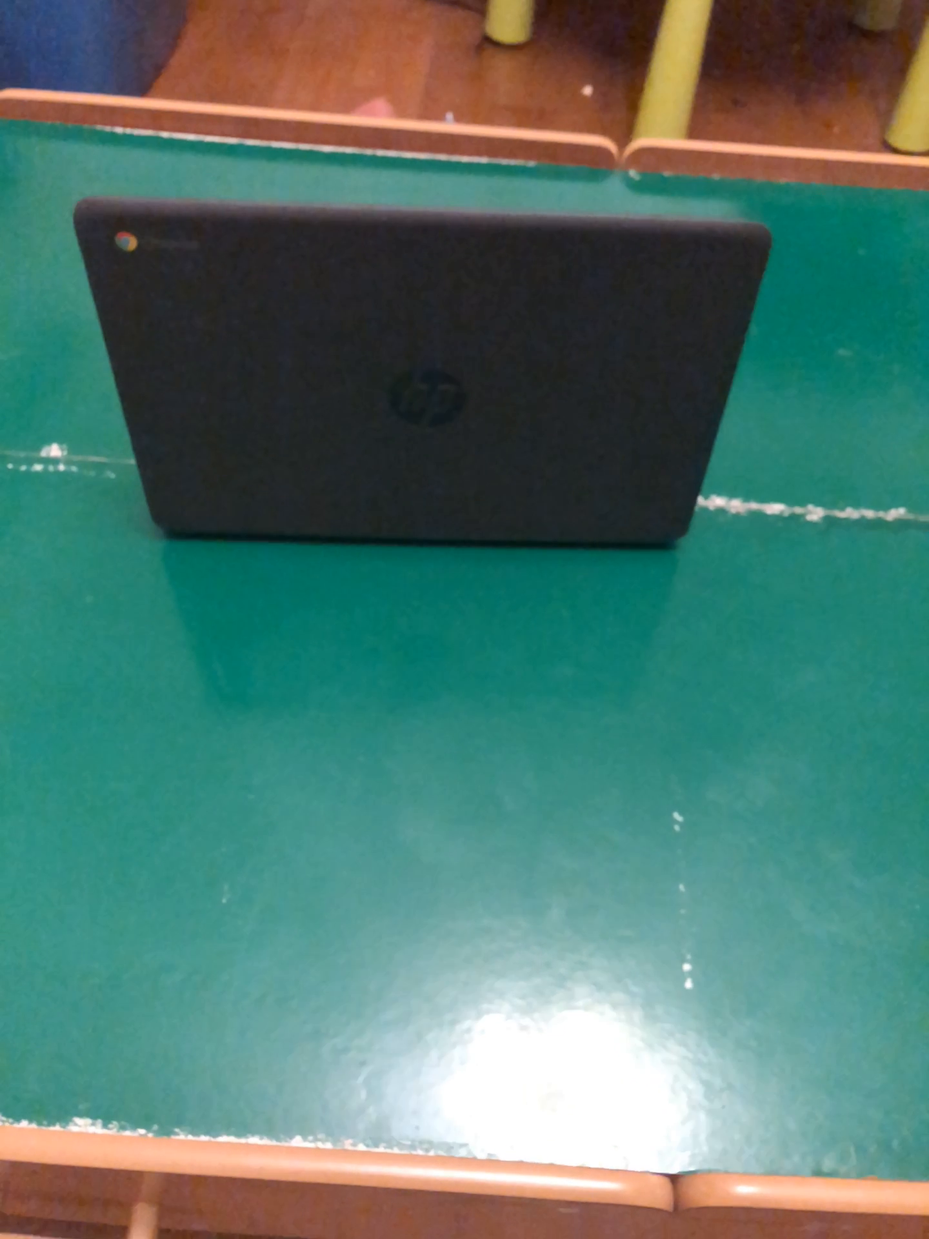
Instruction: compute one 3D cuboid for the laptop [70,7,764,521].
[{"bbox_3d":[-0.027,-0.206,0.616,0.317,0.204,0.211,0,53,-5],"label":"laptop"}]
